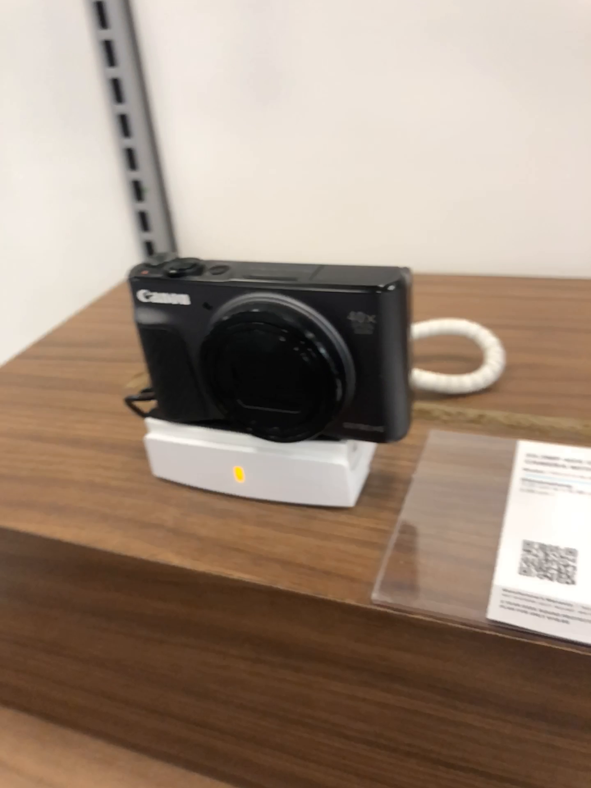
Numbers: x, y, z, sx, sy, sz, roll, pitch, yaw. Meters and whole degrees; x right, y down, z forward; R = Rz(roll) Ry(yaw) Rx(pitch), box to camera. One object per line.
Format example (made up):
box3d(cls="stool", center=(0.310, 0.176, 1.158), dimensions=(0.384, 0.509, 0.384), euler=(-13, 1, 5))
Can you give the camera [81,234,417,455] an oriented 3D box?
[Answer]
box3d(cls="camera", center=(-0.016, -0.022, 0.259), dimensions=(0.120, 0.070, 0.030), euler=(6, 32, 22))
